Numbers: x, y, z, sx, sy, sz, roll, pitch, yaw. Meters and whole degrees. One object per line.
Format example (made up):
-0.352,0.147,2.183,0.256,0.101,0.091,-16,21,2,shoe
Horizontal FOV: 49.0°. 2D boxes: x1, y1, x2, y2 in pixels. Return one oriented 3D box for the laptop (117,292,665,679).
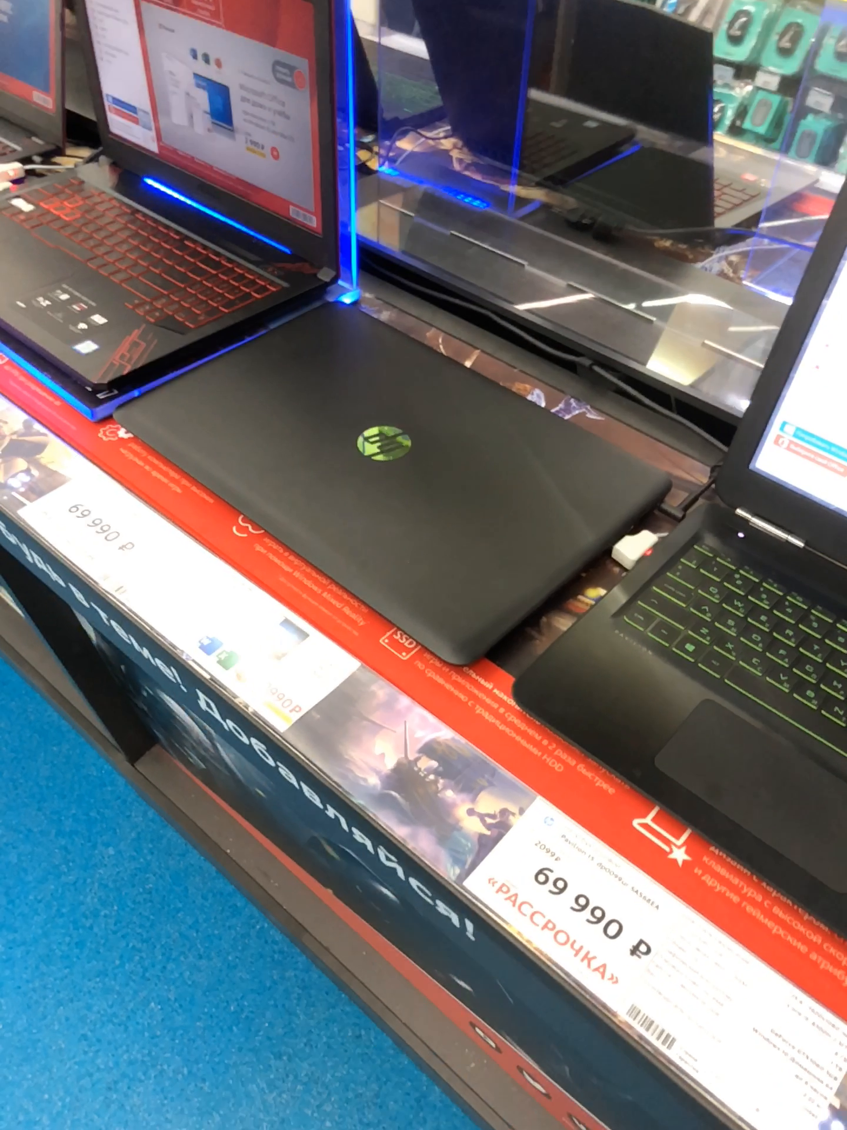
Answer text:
-0.032,-0.090,0.718,0.366,0.012,0.233,35,56,27,laptop
